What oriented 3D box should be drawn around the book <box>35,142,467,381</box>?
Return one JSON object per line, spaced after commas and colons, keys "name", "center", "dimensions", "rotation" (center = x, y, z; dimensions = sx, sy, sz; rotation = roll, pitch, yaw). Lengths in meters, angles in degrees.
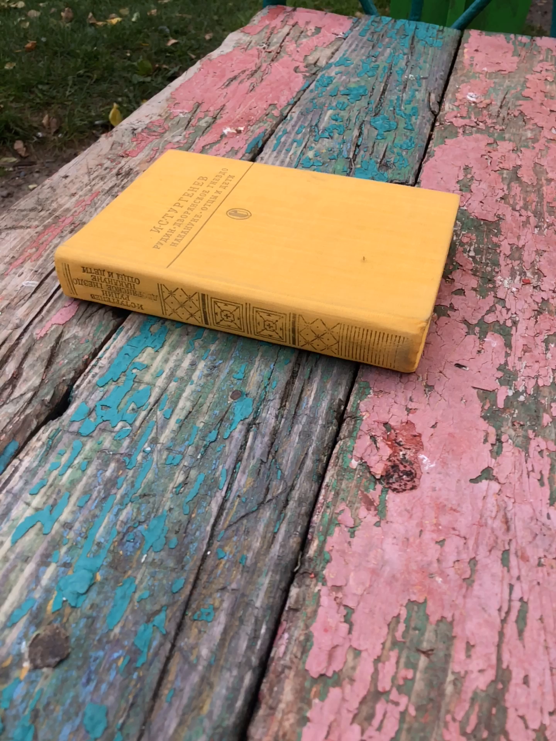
{"name": "book", "center": [-0.006, -0.079, 0.376], "dimensions": [0.217, 0.032, 0.153], "rotation": [13, 44, 13]}
